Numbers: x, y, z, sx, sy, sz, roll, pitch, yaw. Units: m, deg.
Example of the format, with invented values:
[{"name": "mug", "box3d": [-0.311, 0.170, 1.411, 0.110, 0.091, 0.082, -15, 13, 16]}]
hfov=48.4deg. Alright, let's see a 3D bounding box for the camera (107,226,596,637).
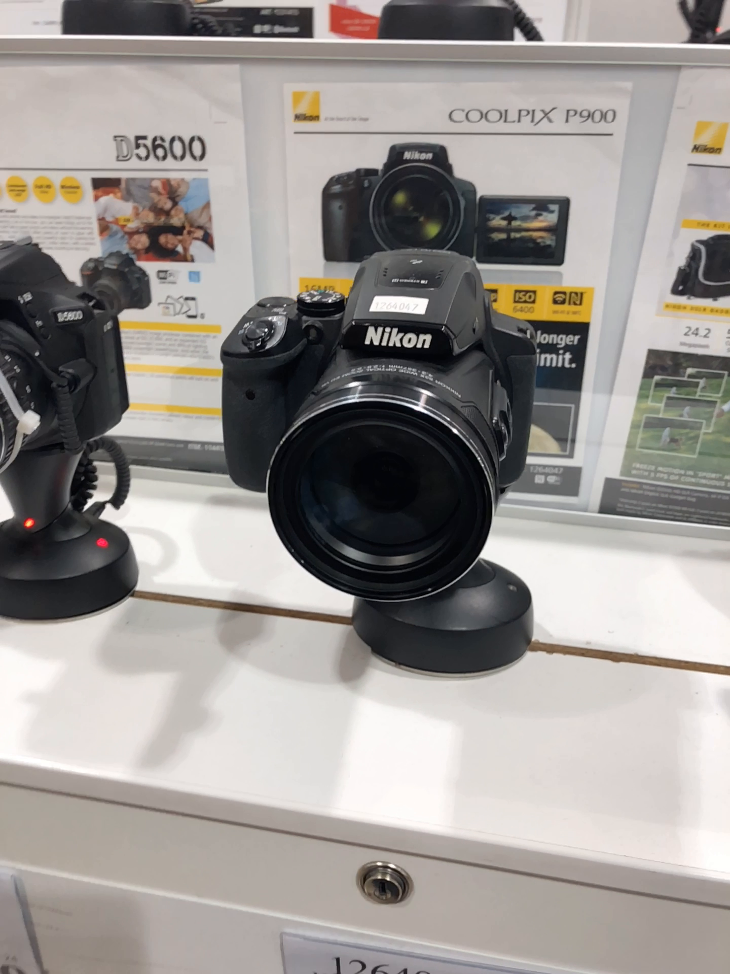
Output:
[{"name": "camera", "box3d": [0.005, -0.037, 0.322, 0.140, 0.100, 0.161, 5, 26, 8]}]
